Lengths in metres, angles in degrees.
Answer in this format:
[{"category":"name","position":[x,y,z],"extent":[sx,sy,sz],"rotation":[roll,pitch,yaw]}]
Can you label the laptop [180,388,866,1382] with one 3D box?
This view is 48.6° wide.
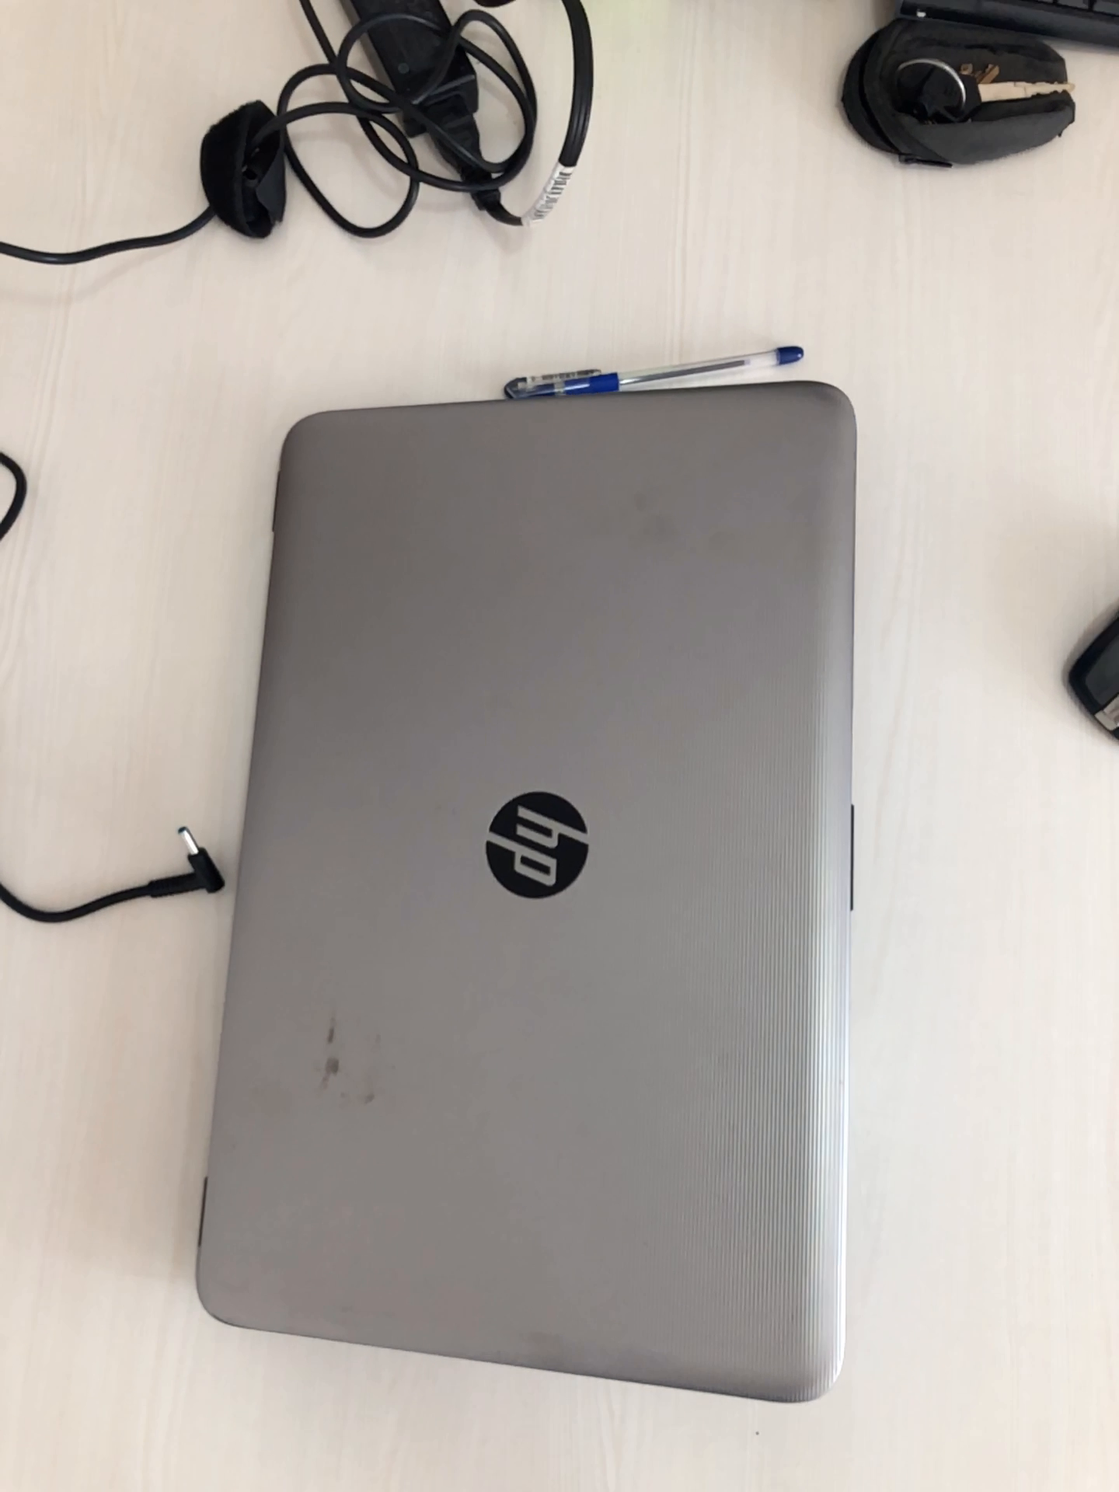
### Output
[{"category":"laptop","position":[-0.005,0.044,0.483],"extent":[0.226,0.062,0.356],"rotation":[3,80,0]}]
